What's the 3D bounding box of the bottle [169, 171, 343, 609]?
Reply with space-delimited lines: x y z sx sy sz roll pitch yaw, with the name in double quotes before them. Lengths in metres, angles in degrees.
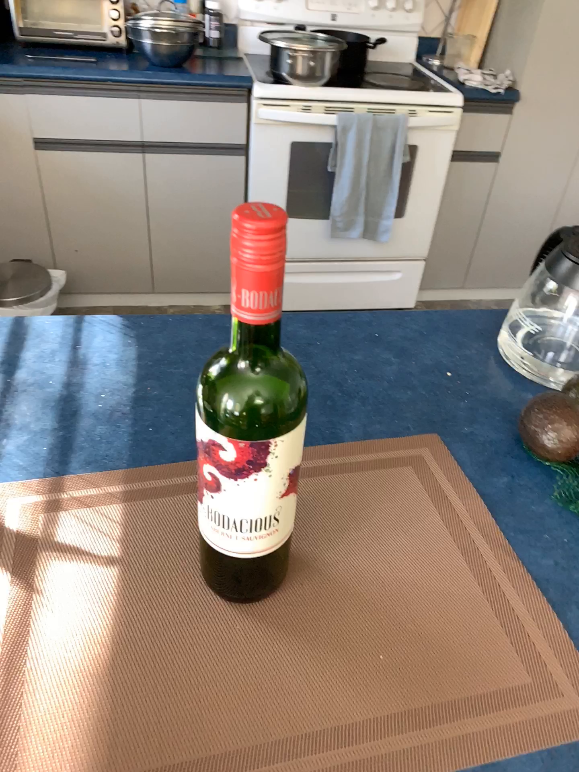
"bottle" -0.025 0.024 0.392 0.080 0.297 0.081 4 37 -3
